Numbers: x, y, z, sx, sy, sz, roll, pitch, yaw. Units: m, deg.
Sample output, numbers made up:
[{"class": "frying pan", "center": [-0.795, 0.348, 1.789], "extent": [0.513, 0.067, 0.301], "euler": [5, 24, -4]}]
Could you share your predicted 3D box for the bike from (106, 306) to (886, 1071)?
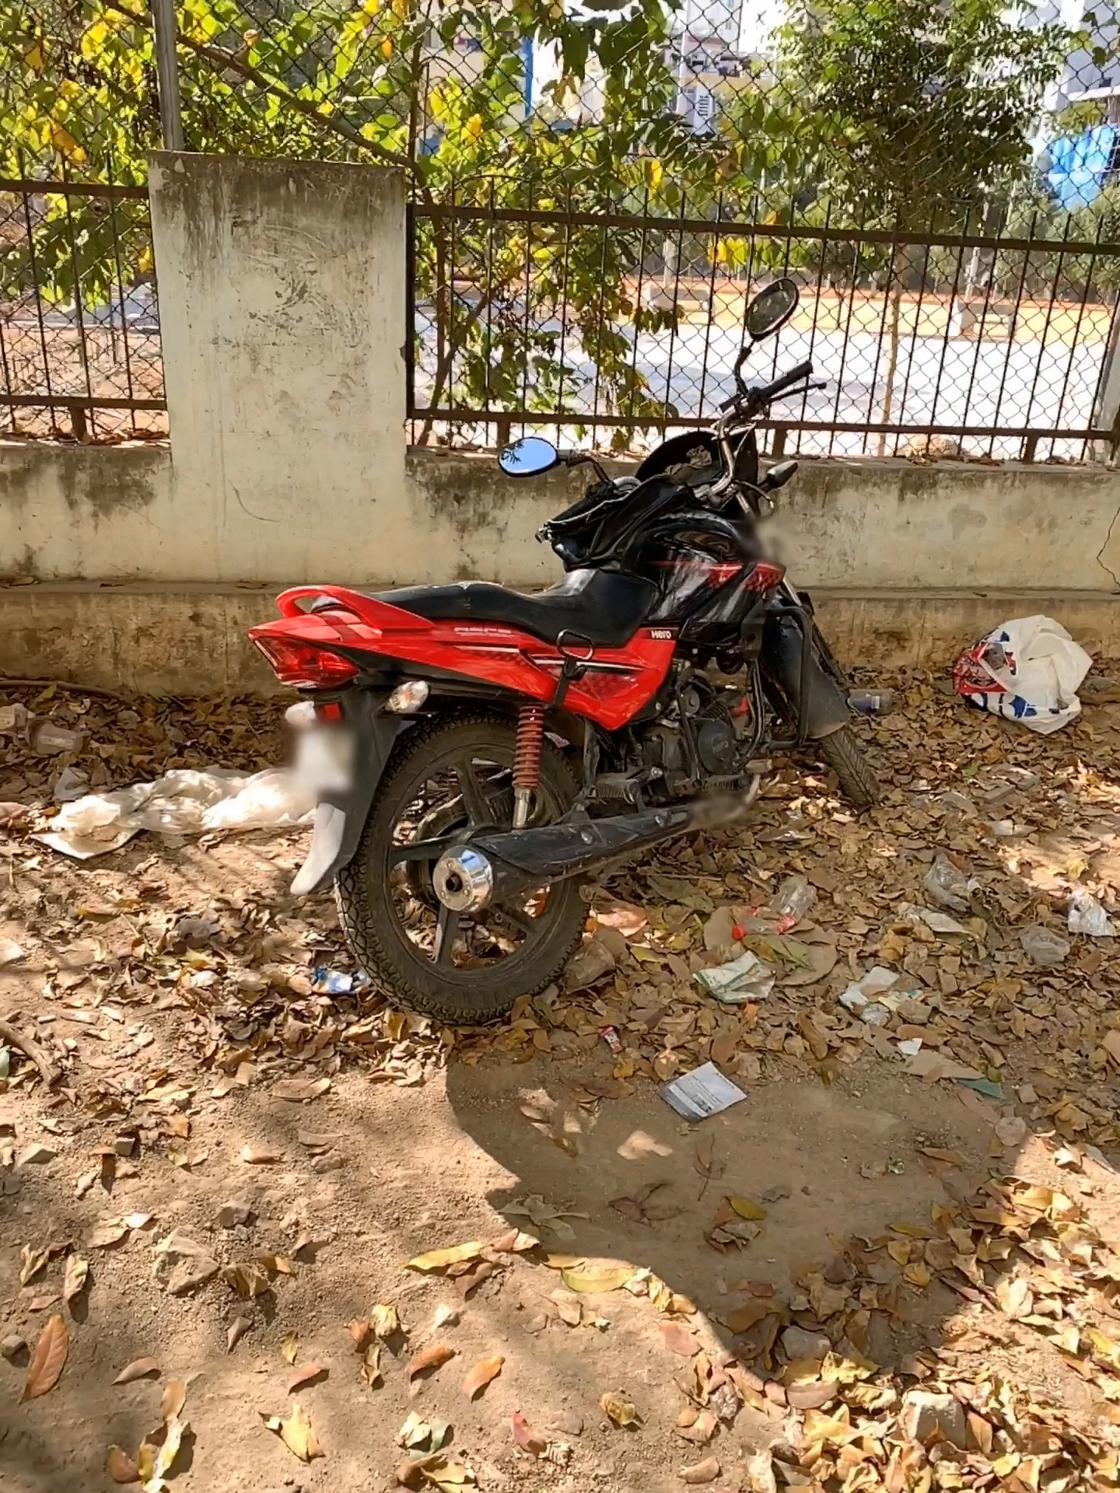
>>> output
[{"class": "bike", "center": [-0.082, -0.276, 2.416], "extent": [0.823, 1.067, 1.293], "euler": [21, 32, 36]}]
